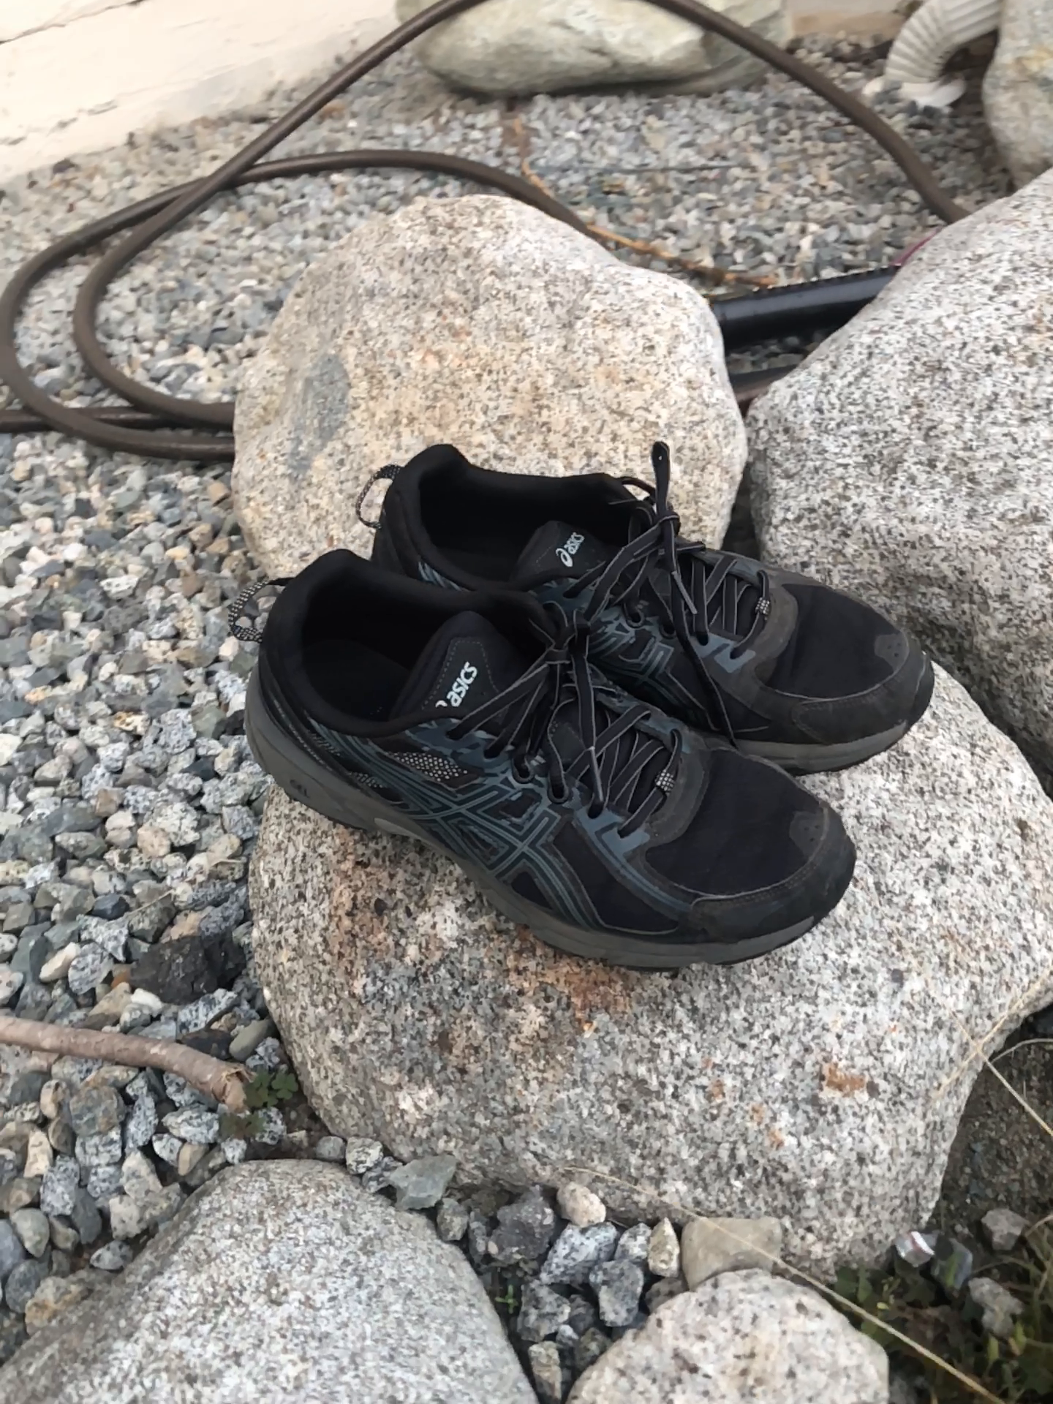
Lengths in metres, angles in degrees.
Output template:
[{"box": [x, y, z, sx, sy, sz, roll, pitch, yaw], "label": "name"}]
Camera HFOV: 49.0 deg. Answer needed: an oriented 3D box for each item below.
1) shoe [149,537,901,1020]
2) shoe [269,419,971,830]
[{"box": [0.002, 0.022, 0.498, 0.281, 0.099, 0.121, 11, 45, 20], "label": "shoe"}, {"box": [0.044, -0.047, 0.549, 0.291, 0.099, 0.121, 11, 45, 20], "label": "shoe"}]
